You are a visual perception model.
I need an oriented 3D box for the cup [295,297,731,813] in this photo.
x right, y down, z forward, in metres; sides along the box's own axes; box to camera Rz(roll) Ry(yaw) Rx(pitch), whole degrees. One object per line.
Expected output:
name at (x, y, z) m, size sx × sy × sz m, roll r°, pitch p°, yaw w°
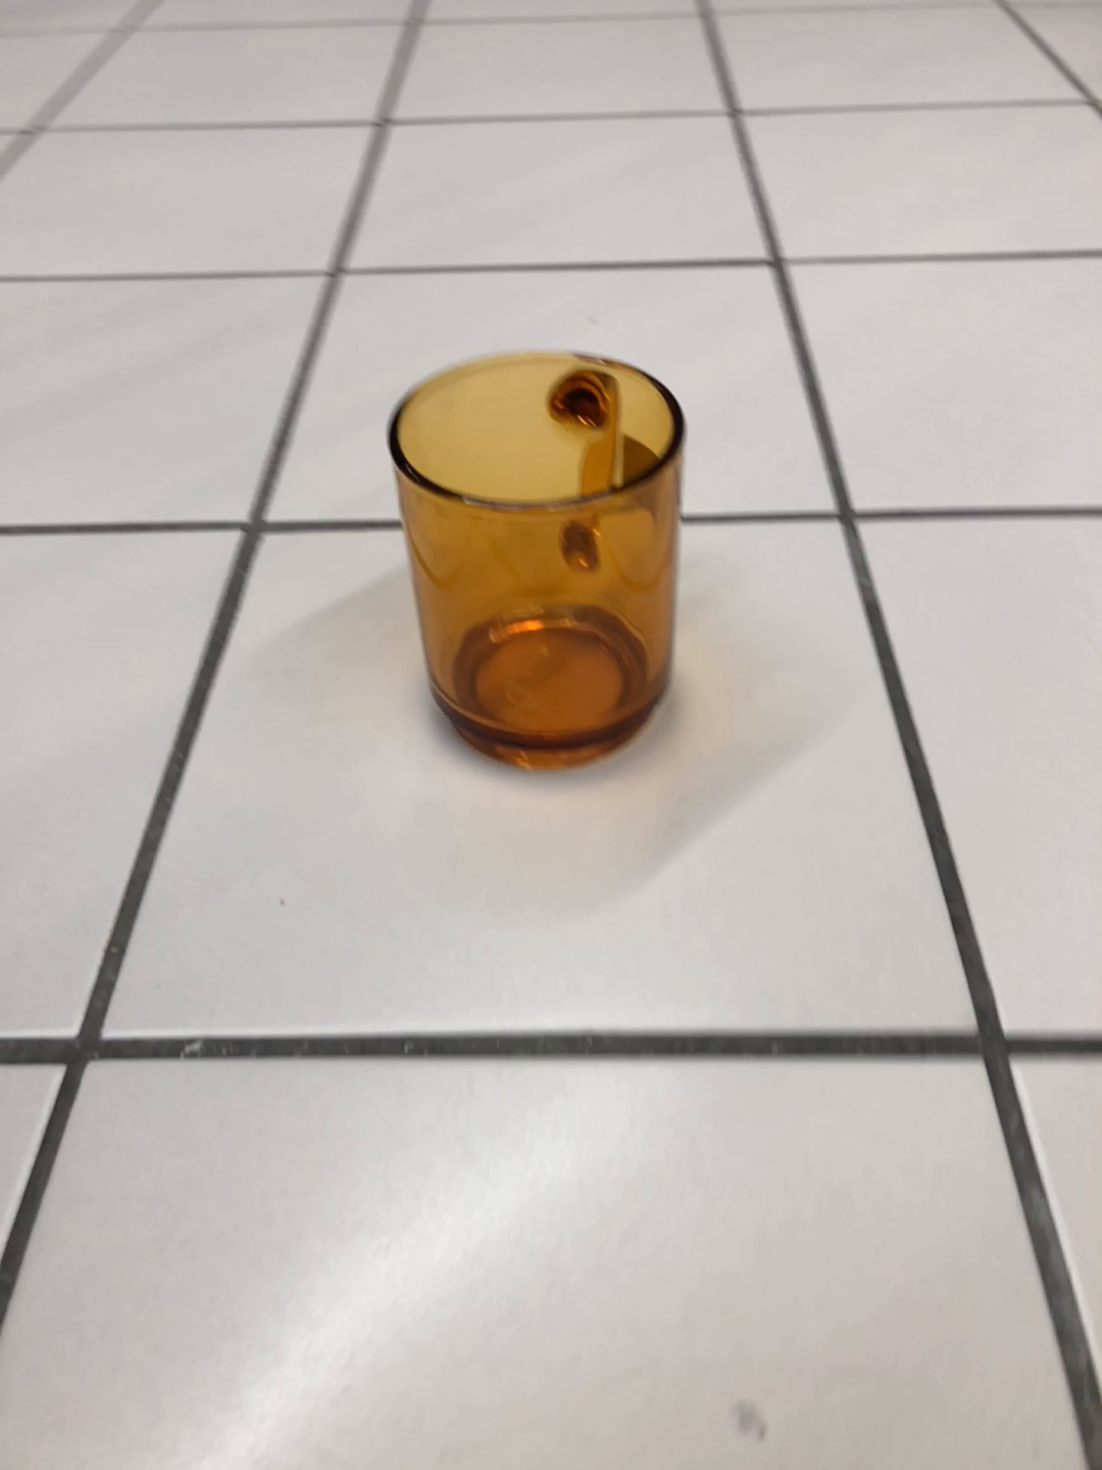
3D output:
cup at (-0.004, -0.050, 0.318) m, size 0.074 × 0.082 × 0.097 m, roll 13°, pitch 46°, yaw 15°
